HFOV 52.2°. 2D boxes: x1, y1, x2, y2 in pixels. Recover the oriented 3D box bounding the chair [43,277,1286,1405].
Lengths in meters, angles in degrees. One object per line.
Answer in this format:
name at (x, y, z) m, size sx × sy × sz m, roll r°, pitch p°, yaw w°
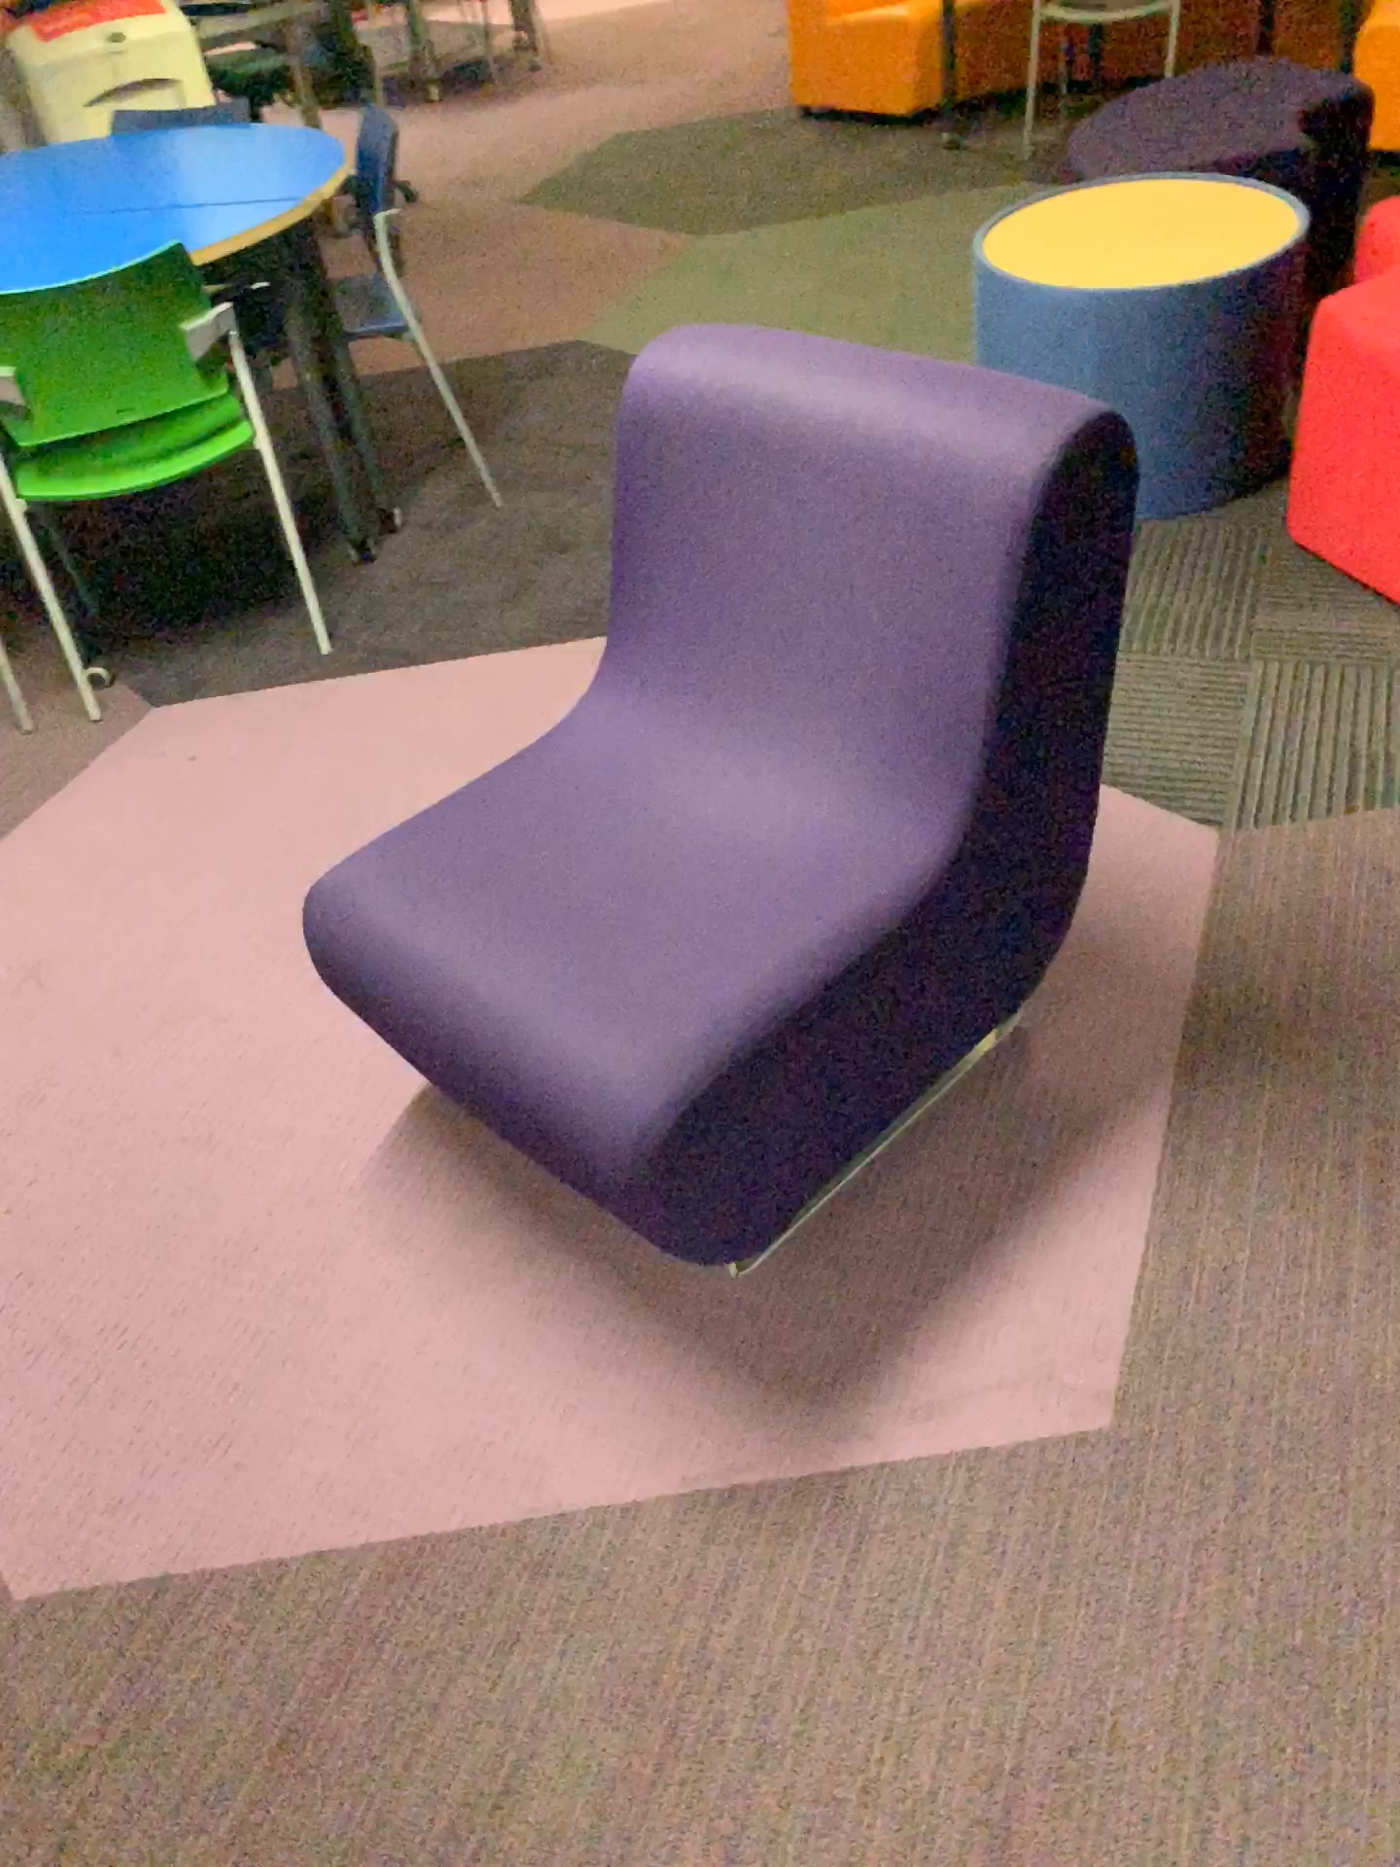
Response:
chair at (-0.010, -0.193, 1.498) m, size 0.823 × 0.614 × 0.804 m, roll -37°, pitch 47°, yaw -29°
